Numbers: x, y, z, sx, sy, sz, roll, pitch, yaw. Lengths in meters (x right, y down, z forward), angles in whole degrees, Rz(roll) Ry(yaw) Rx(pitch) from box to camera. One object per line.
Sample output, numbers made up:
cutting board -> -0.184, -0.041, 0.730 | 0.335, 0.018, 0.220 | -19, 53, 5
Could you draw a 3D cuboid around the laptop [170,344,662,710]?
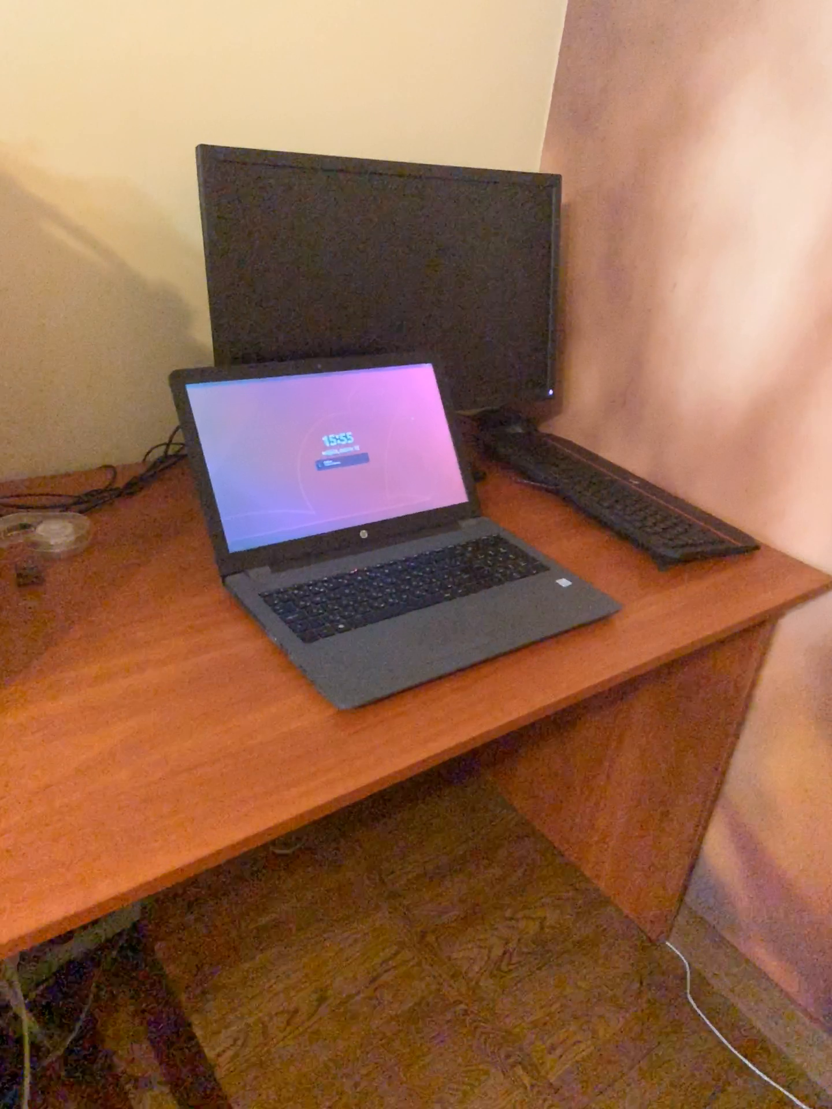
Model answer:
laptop -> -0.016, -0.071, 0.917 | 0.367, 0.181, 0.375 | -14, 36, -35
